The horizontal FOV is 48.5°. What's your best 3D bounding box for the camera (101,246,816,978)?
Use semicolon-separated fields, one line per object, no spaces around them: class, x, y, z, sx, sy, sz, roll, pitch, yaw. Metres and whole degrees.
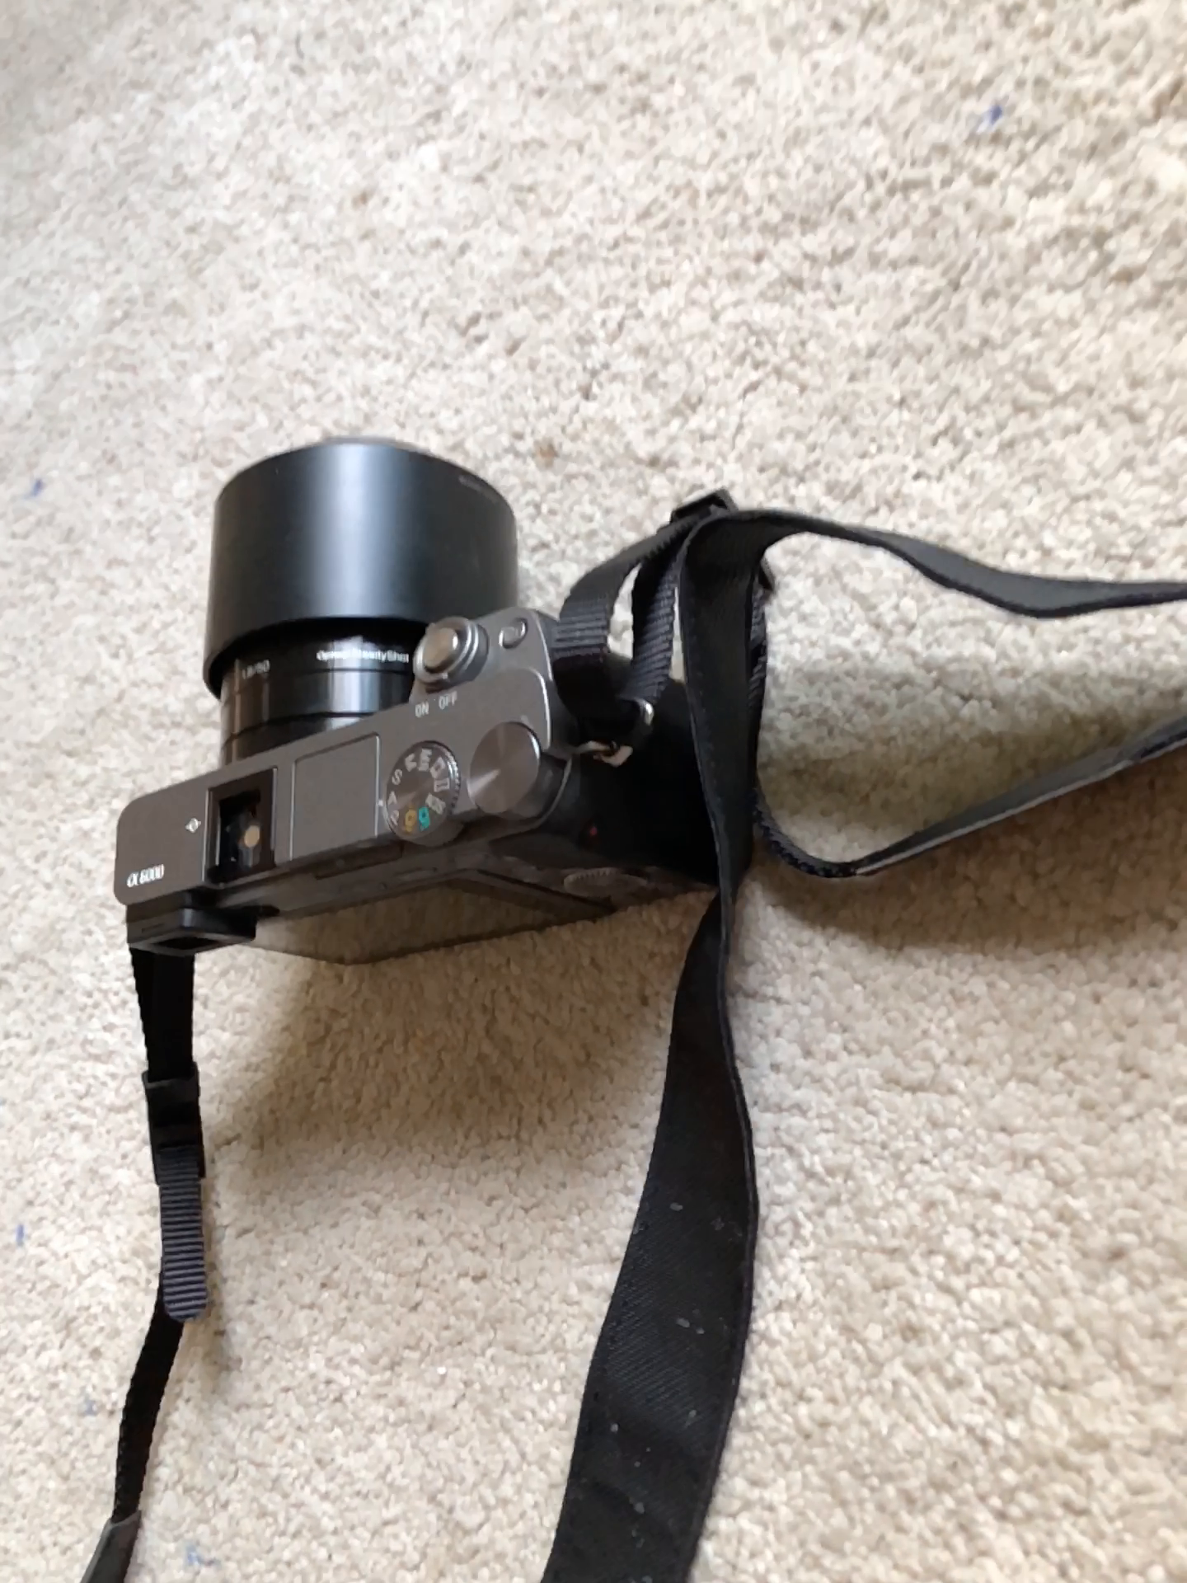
camera;-0.029;-0.024;0.268;0.120;0.070;0.100;-15;68;34
